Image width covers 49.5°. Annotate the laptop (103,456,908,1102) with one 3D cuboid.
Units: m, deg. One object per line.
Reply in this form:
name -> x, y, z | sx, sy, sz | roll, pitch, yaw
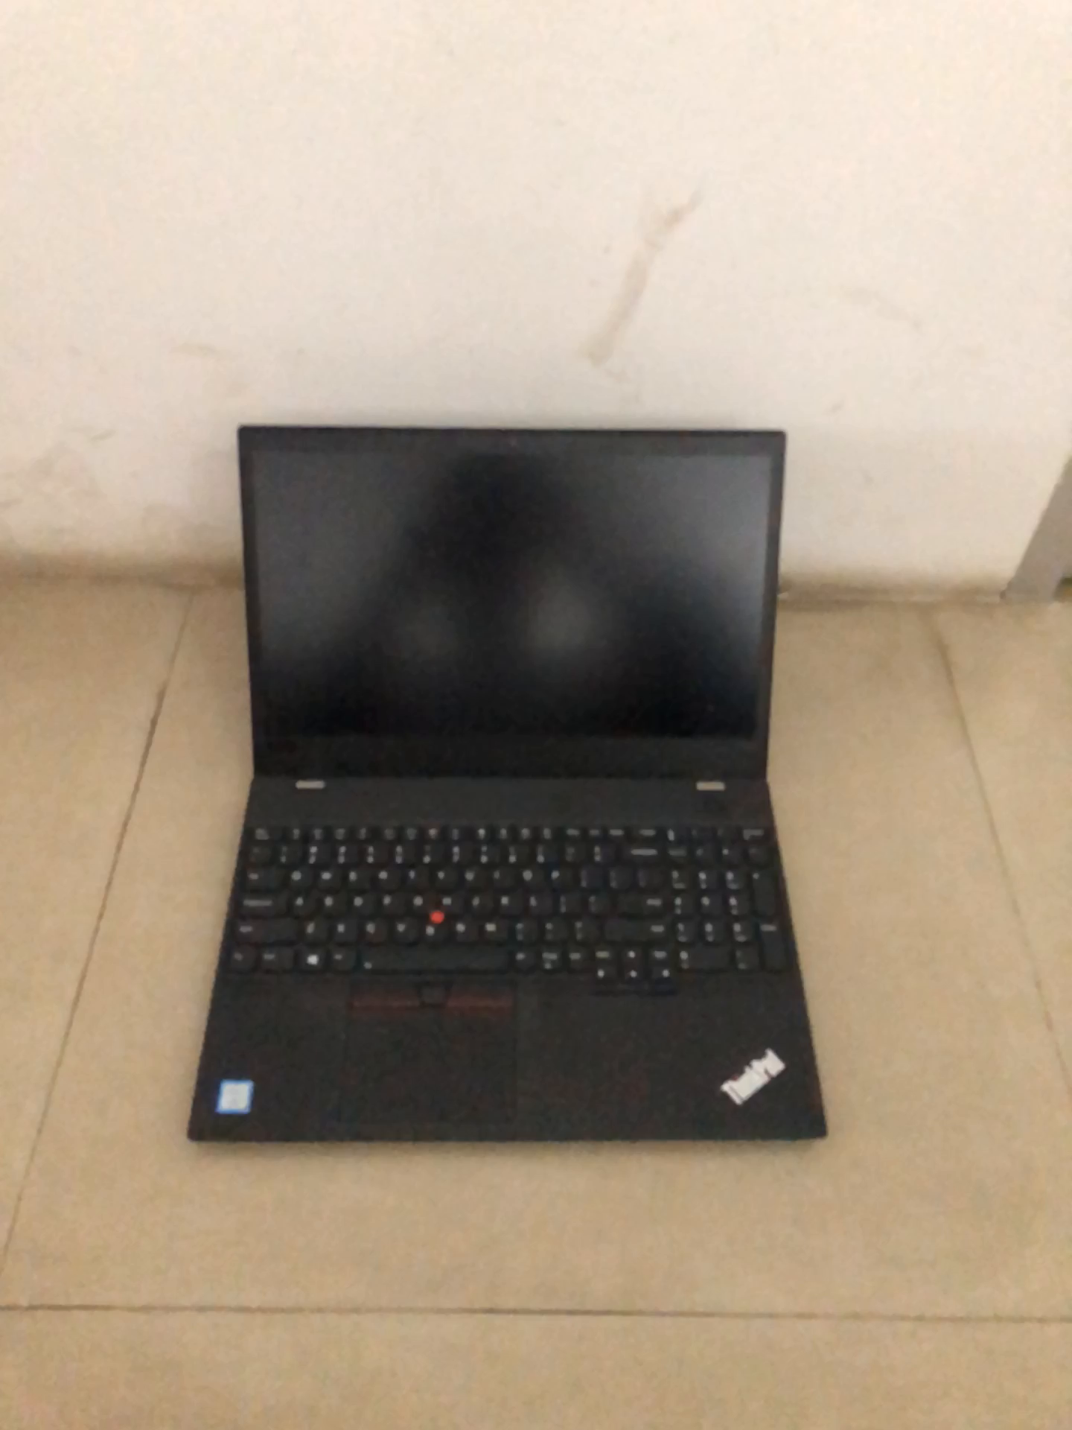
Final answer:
laptop -> -0.020, 0.026, 0.701 | 0.344, 0.192, 0.364 | 1, 45, -3
